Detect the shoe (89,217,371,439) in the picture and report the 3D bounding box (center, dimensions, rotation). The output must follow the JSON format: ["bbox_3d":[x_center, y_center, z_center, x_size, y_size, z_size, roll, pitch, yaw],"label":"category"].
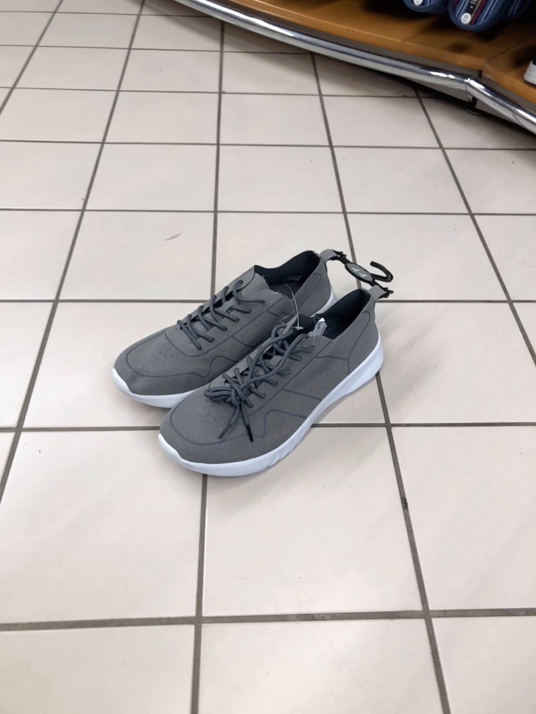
[{"bbox_3d":[-0.035,-0.043,0.670,0.291,0.099,0.110,-28,55,-25],"label":"shoe"}]

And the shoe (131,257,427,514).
[{"bbox_3d":[0.019,0.018,0.618,0.291,0.099,0.110,-31,56,-27],"label":"shoe"}]
